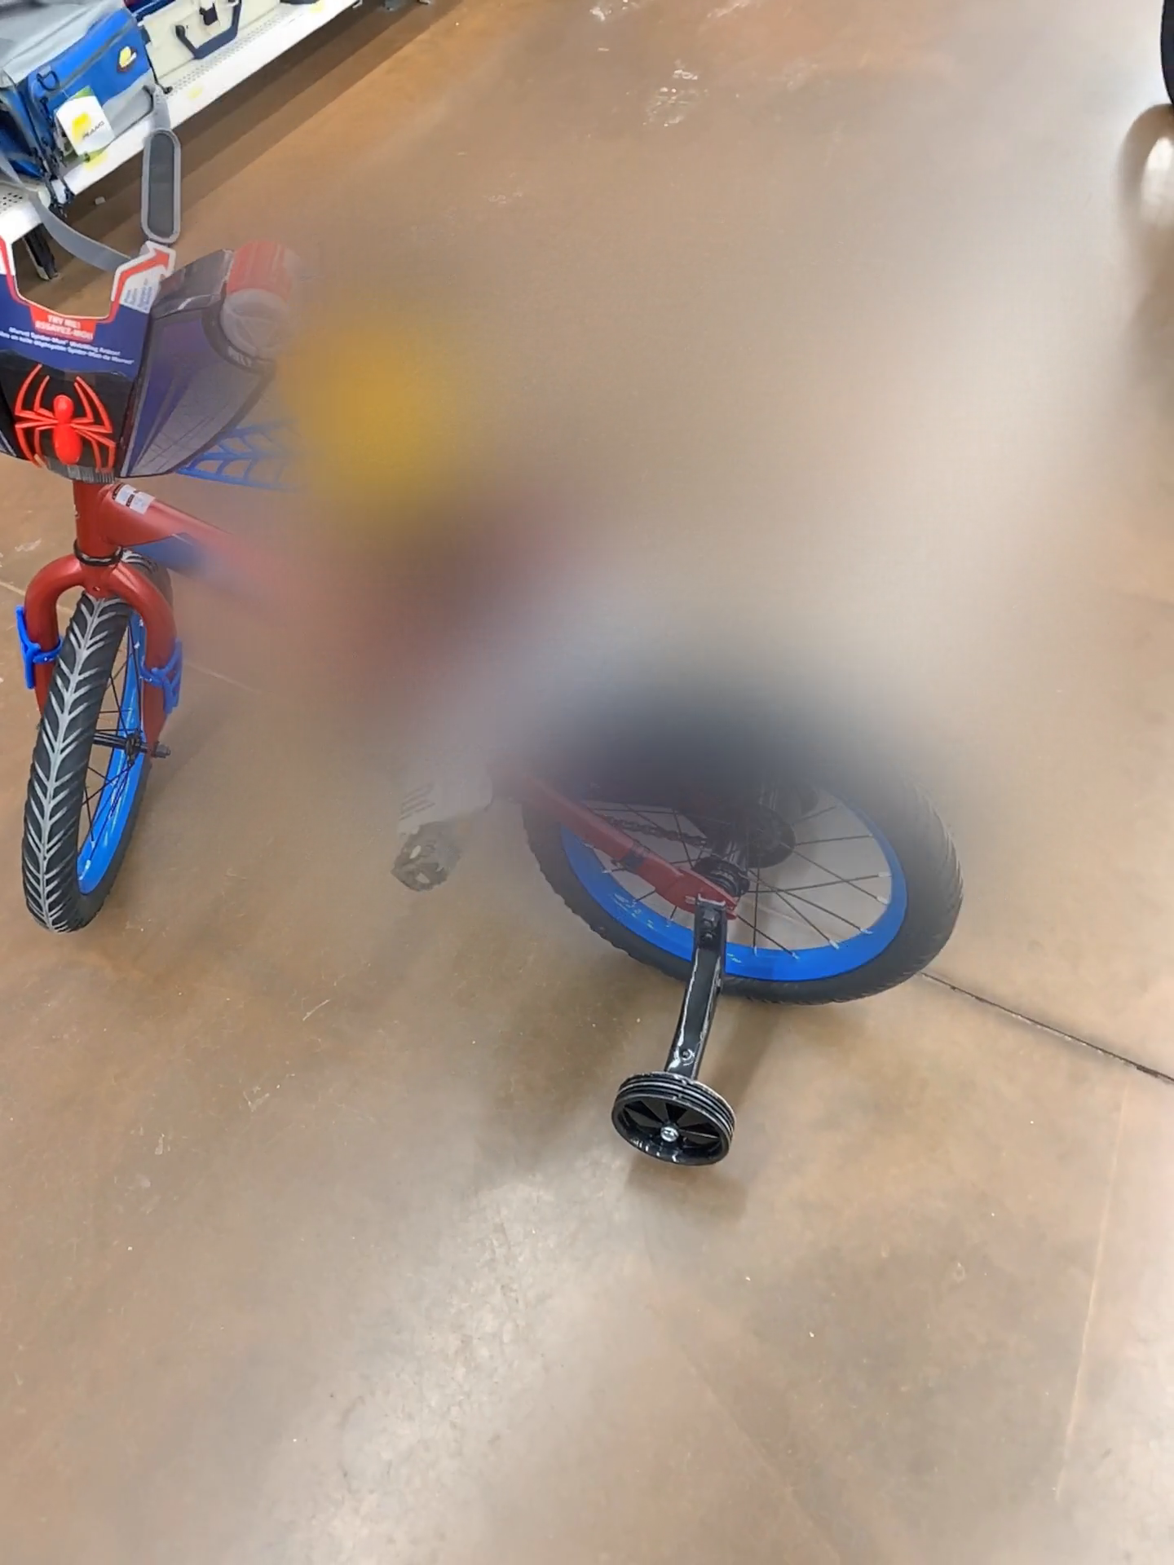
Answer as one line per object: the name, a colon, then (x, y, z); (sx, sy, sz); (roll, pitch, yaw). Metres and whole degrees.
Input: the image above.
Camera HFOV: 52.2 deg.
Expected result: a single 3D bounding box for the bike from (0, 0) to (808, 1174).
bike: (-0.193, -0.101, 0.808); (0.565, 0.709, 0.477); (3, 53, 10)
